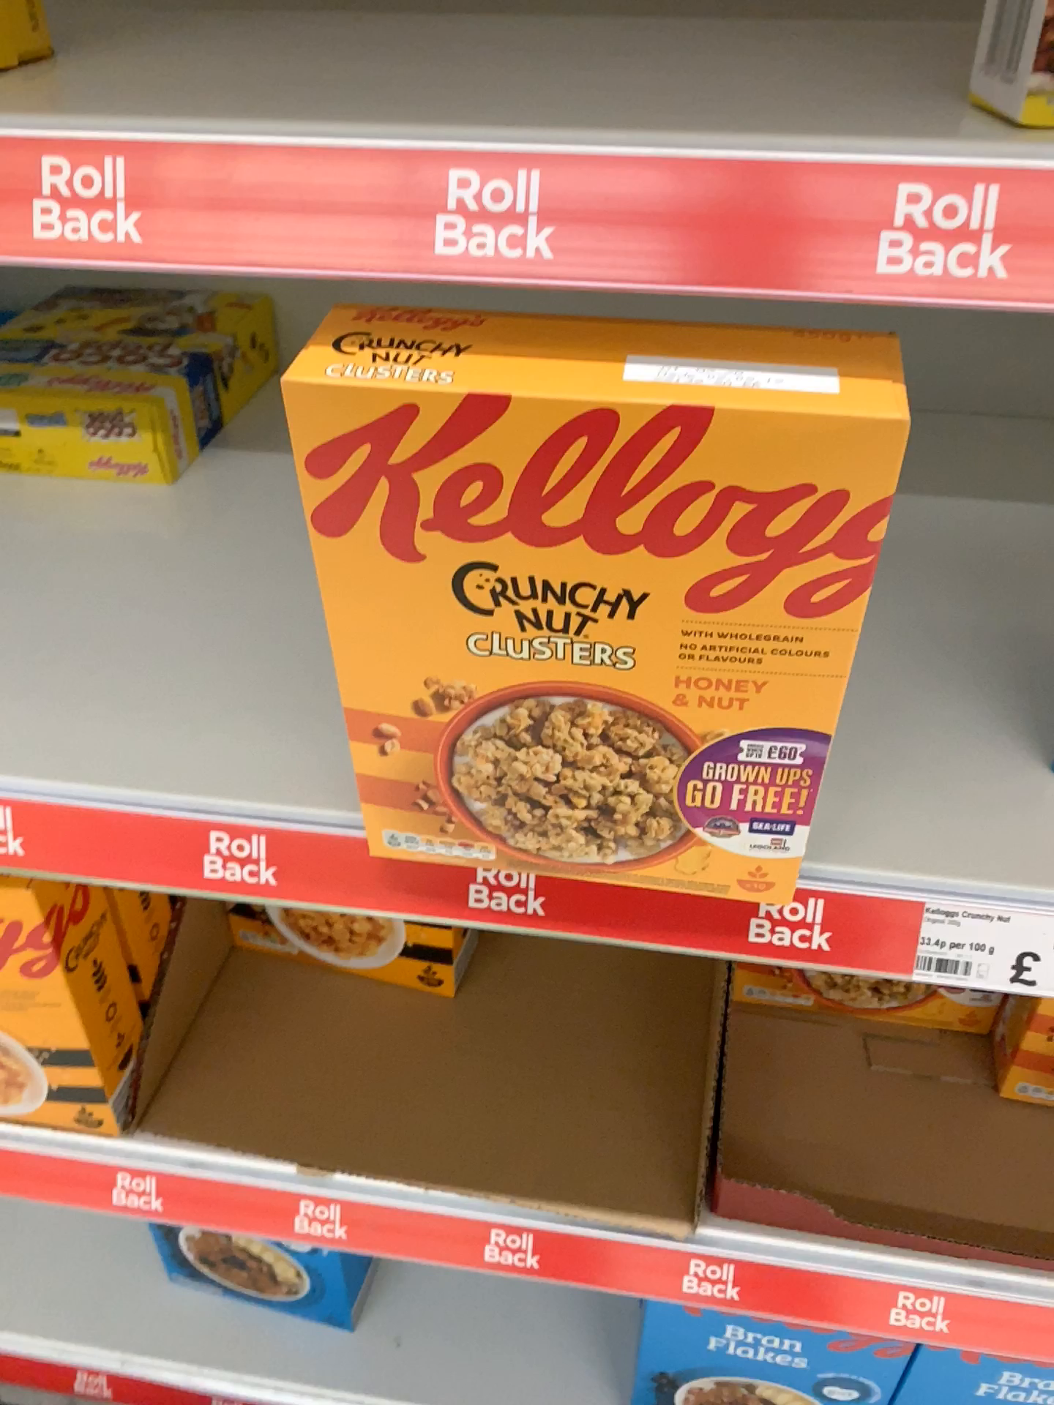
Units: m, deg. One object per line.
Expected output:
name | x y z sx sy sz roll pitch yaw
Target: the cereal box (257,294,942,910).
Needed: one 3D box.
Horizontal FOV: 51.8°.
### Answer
cereal box | 0.023 -0.026 0.415 0.200 0.228 0.061 5 43 7
